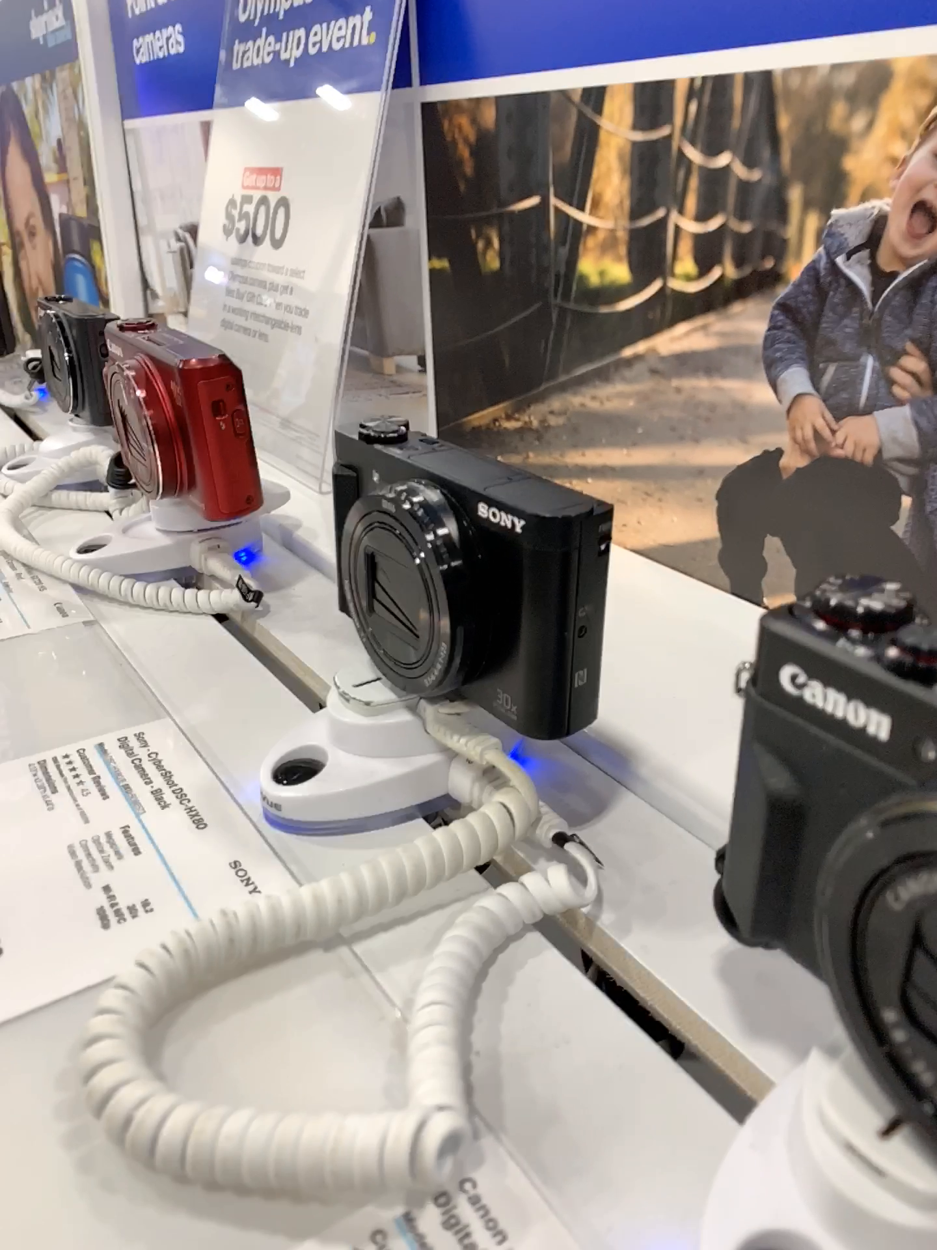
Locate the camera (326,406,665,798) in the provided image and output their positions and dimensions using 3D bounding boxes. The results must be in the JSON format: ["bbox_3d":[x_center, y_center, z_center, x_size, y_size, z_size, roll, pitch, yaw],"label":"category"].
[{"bbox_3d":[0.001,-0.013,0.265,0.030,0.070,0.110,-15,29,-30],"label":"camera"}]
